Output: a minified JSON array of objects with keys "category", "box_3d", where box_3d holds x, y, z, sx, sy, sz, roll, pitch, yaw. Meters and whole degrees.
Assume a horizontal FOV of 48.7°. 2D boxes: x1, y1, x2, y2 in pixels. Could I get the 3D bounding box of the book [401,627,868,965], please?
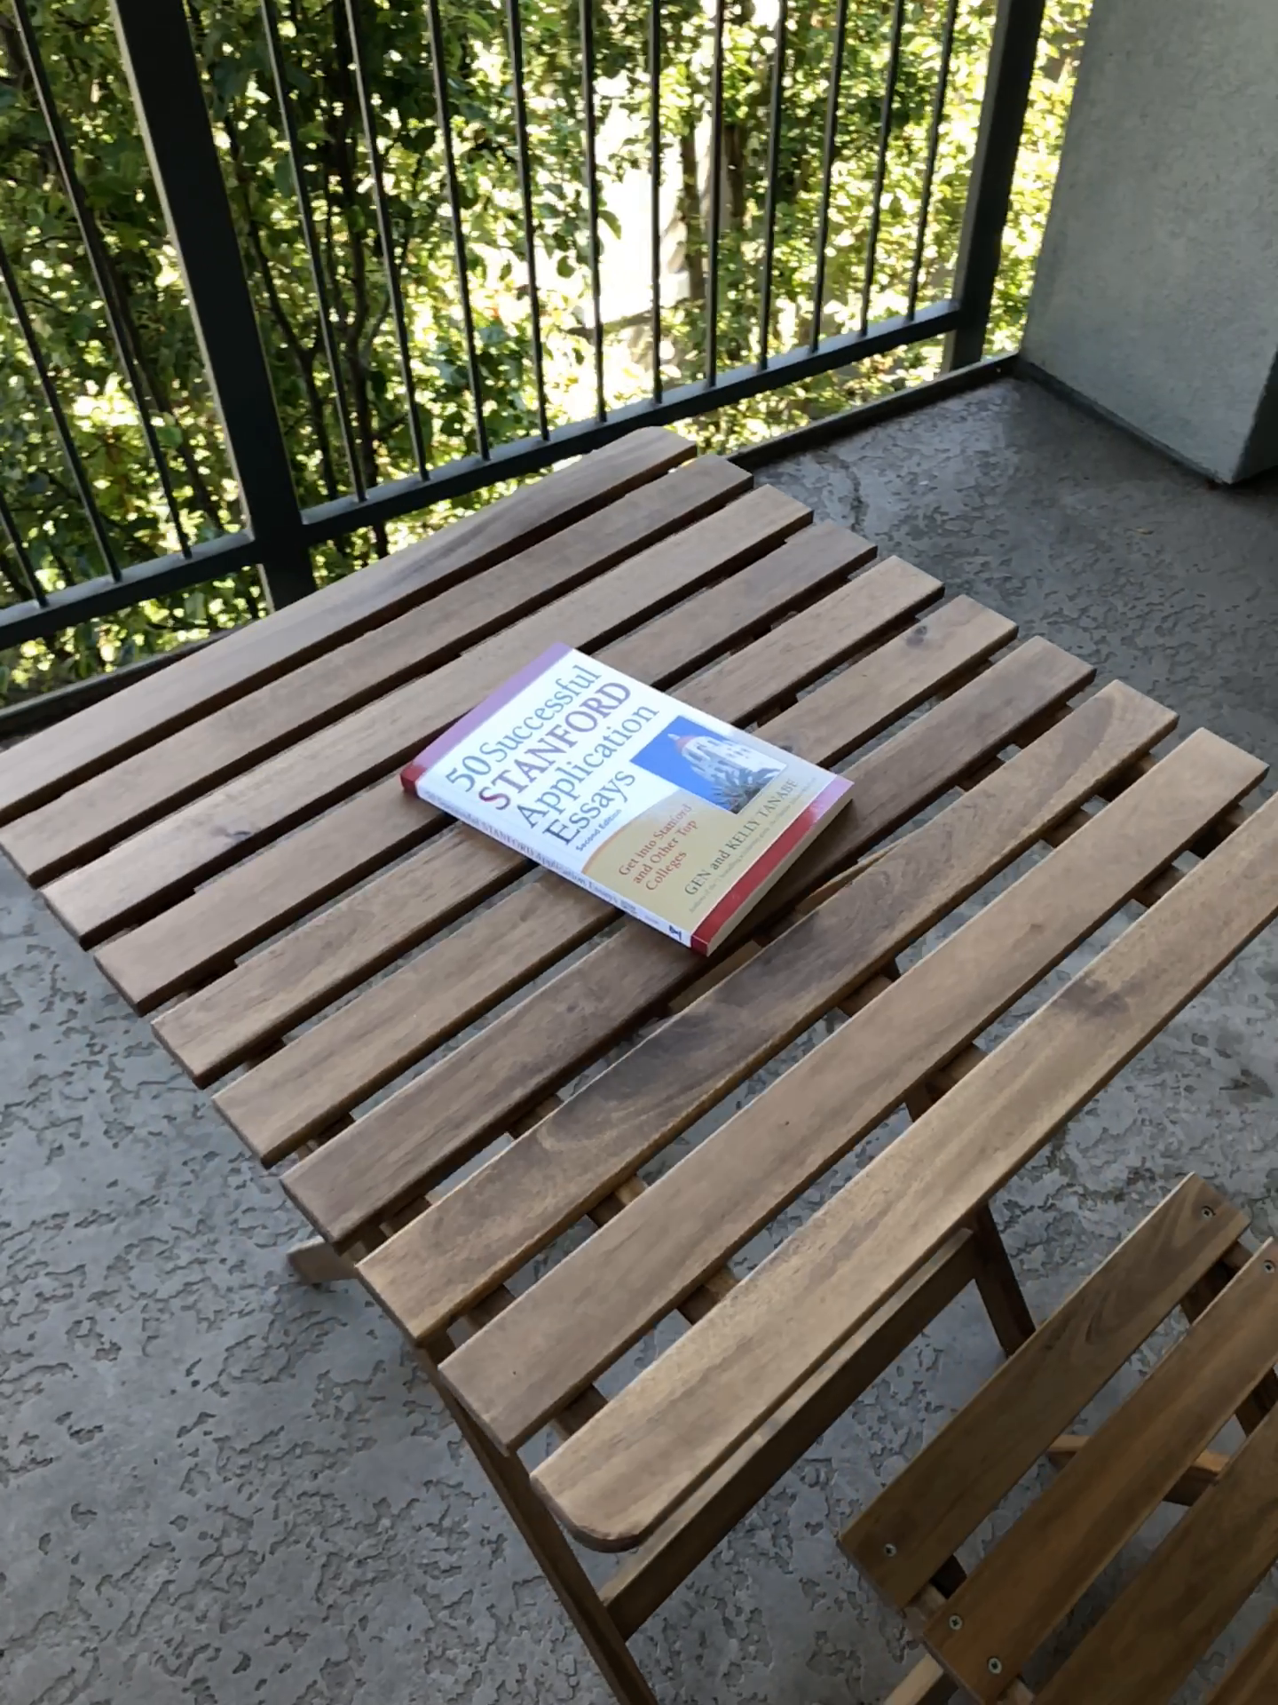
[{"category":"book","box_3d":[-0.003,-0.043,0.833,0.224,0.020,0.157,28,54,24]}]
